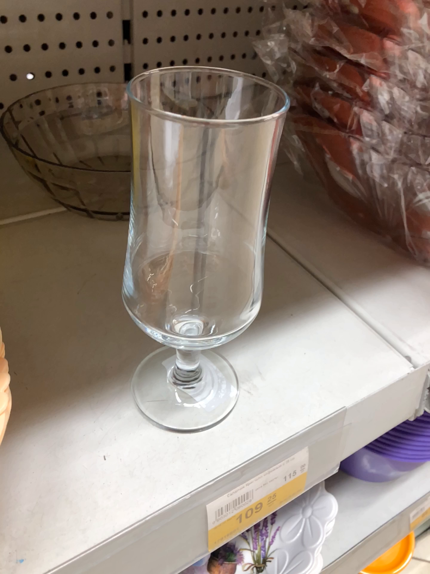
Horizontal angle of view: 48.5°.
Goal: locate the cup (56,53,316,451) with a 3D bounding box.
[{"bbox_3d":[-0.013,-0.010,0.249,0.079,0.177,0.079,4,40,-3],"label":"cup"}]
